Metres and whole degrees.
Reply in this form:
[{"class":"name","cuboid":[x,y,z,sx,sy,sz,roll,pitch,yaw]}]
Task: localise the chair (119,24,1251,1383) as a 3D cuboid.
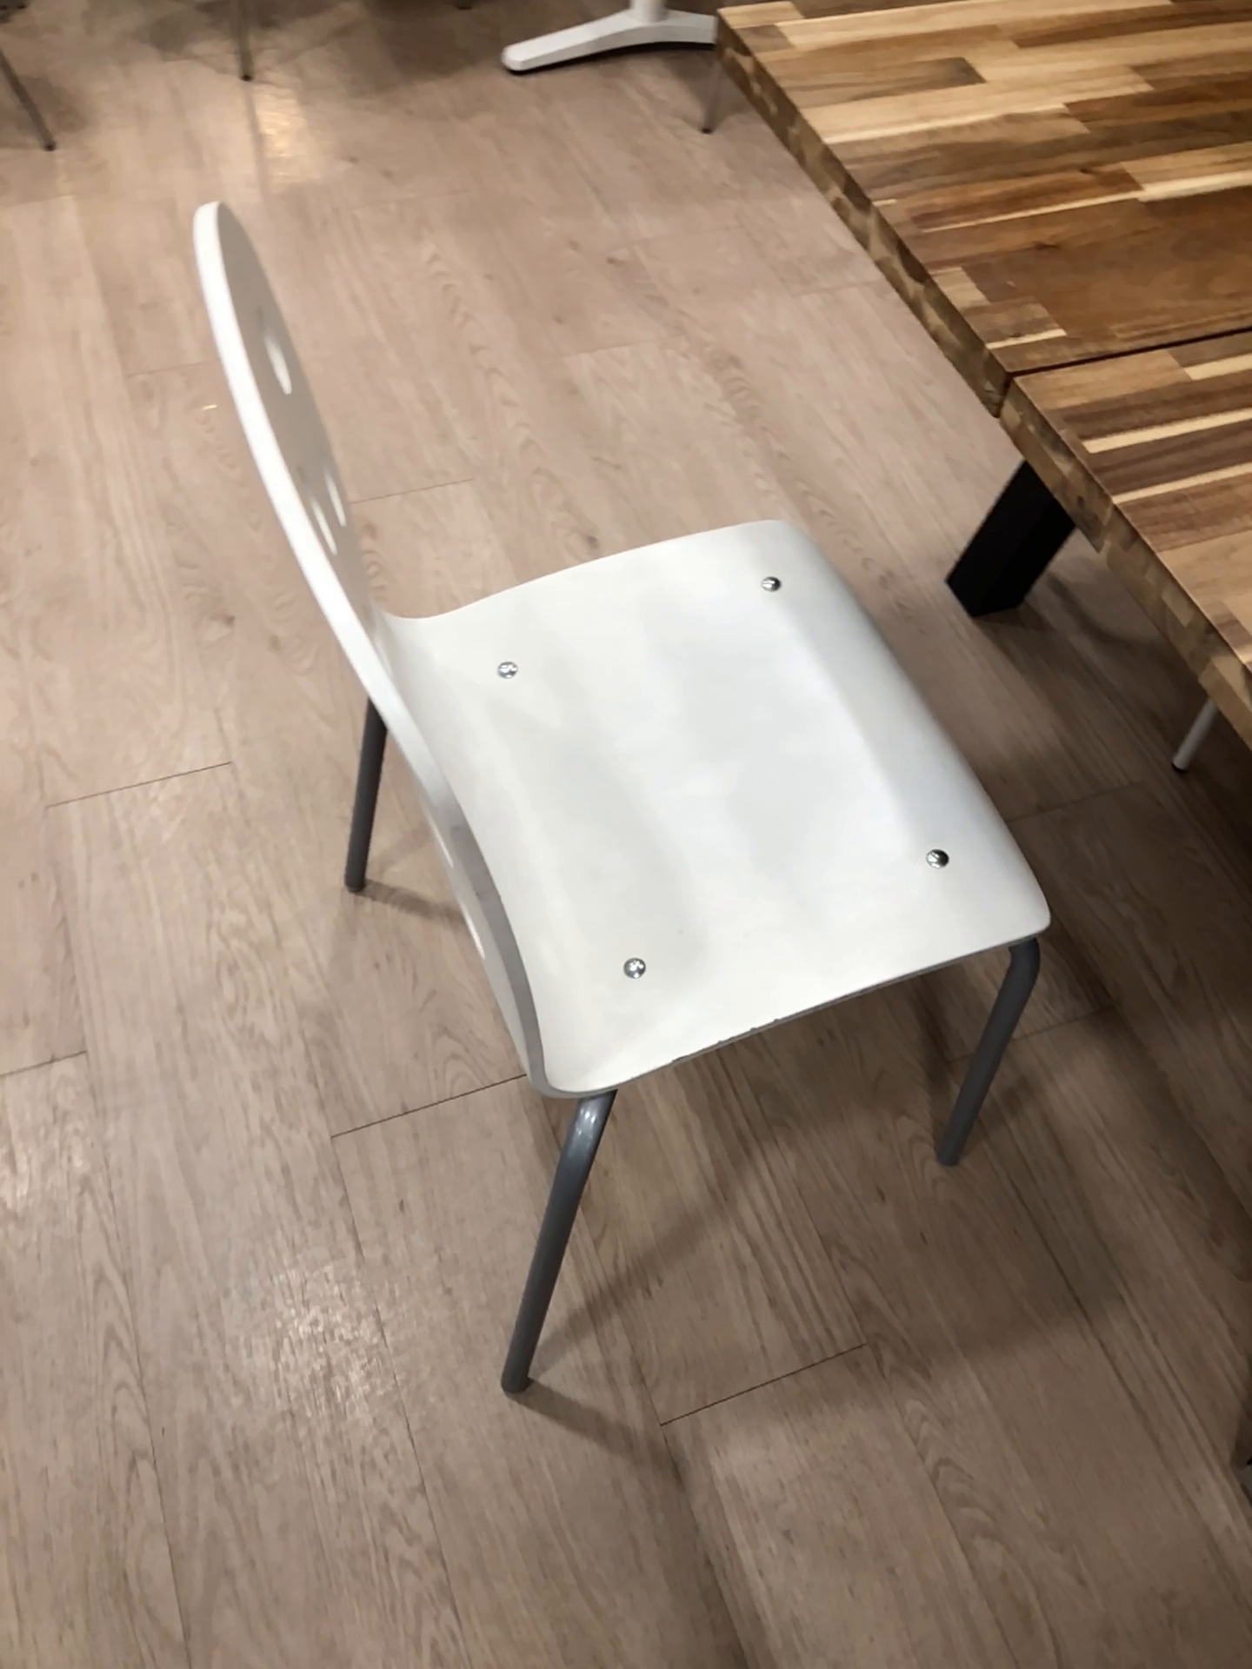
[{"class":"chair","cuboid":[0.016,-0.065,1.014,0.490,0.716,0.573,-17,56,-16]}]
